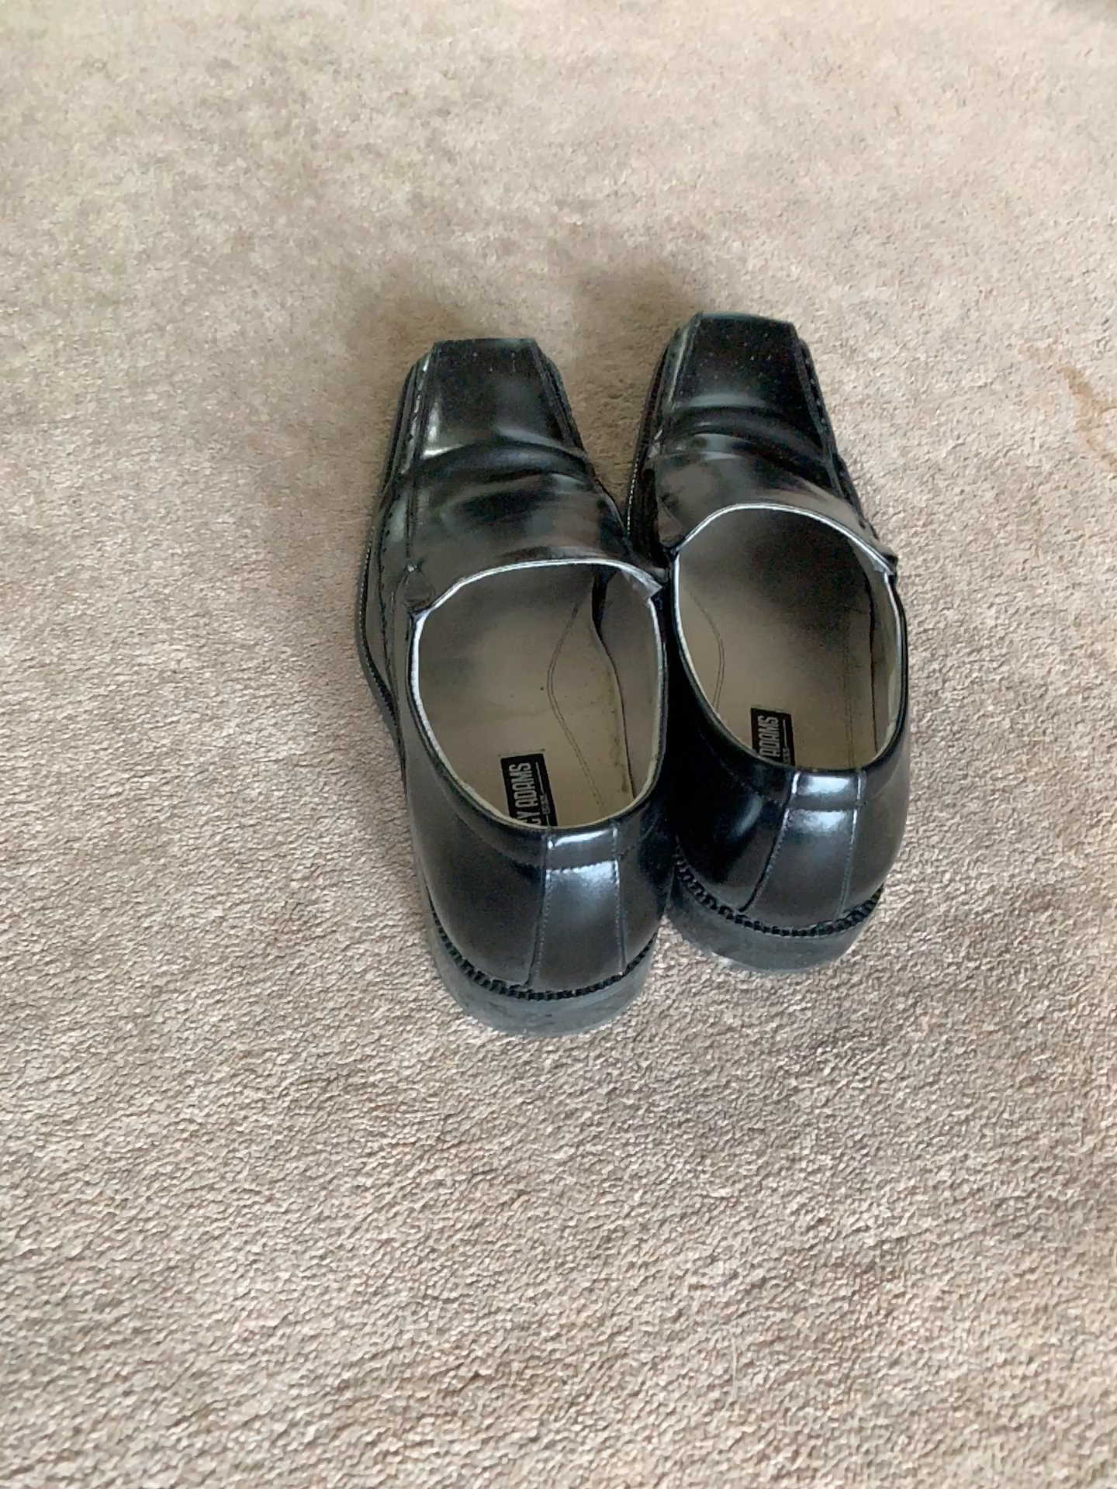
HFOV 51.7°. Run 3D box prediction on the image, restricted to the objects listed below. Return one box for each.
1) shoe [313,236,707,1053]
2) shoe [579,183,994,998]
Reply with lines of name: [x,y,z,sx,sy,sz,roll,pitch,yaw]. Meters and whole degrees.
shoe: [-0.032,-0.054,0.455,0.110,0.119,0.312,-3,57,-6]
shoe: [0.078,-0.077,0.469,0.110,0.119,0.322,6,56,-1]
